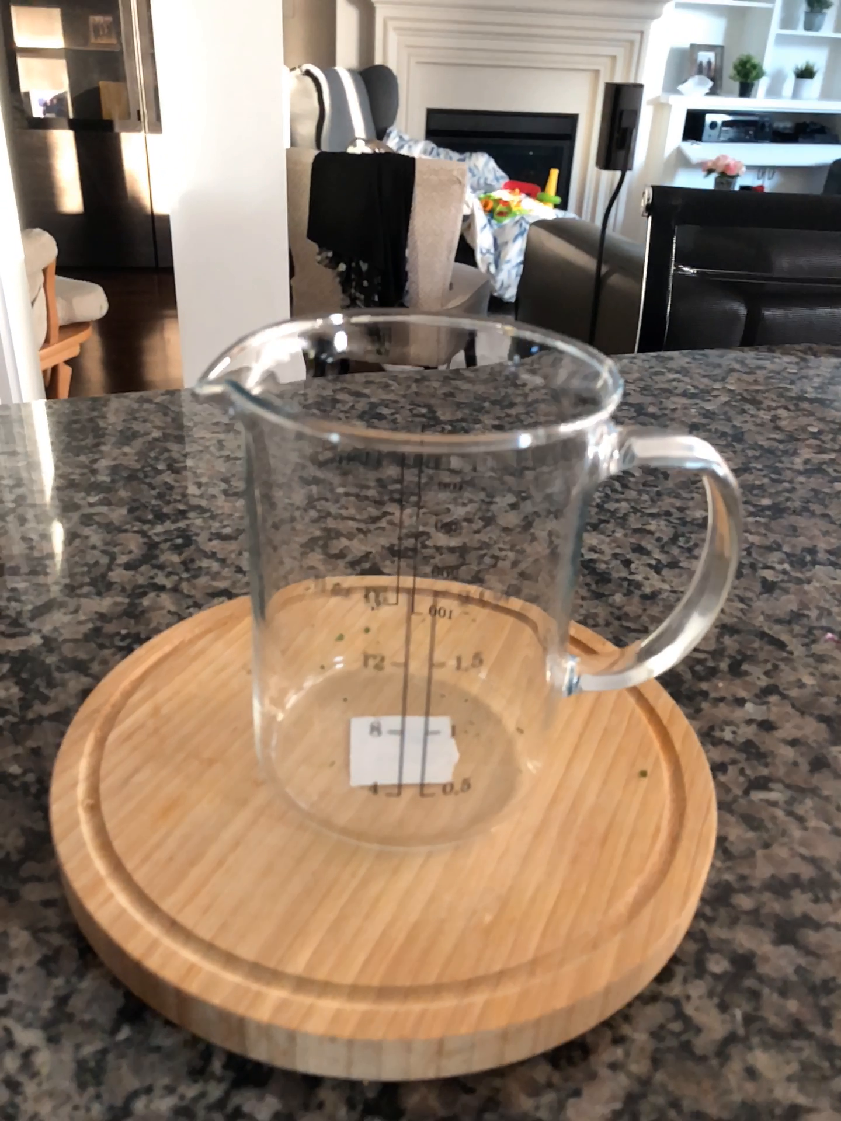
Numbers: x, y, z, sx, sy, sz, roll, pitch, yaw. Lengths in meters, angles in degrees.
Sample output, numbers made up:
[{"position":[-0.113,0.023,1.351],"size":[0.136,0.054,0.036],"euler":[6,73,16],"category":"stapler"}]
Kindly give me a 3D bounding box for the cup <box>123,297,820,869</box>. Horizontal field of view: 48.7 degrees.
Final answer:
[{"position":[0.006,0.001,0.275],"size":[0.150,0.128,0.106],"euler":[0,29,-6],"category":"cup"}]
